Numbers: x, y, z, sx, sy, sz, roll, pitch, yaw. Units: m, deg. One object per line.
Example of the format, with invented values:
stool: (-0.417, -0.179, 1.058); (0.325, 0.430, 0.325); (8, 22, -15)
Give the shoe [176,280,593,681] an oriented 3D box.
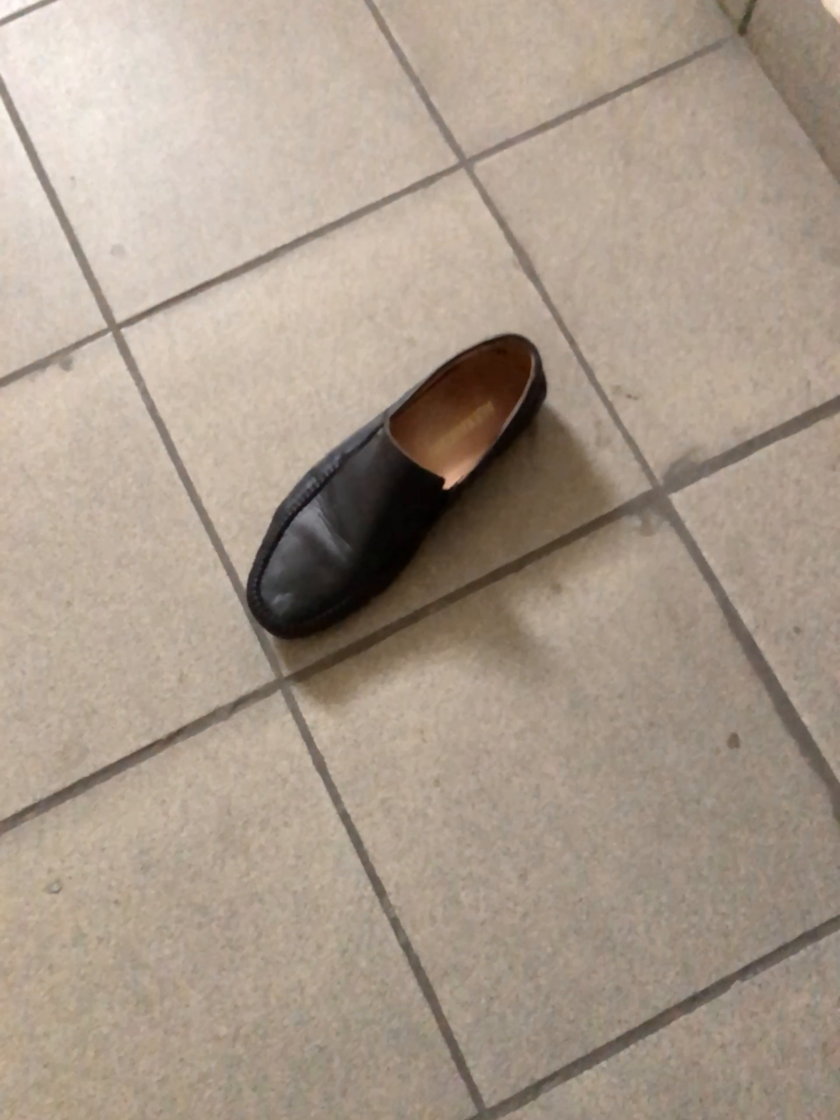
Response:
shoe: (-0.020, -0.052, 0.640); (0.270, 0.080, 0.107); (-43, 79, -7)
